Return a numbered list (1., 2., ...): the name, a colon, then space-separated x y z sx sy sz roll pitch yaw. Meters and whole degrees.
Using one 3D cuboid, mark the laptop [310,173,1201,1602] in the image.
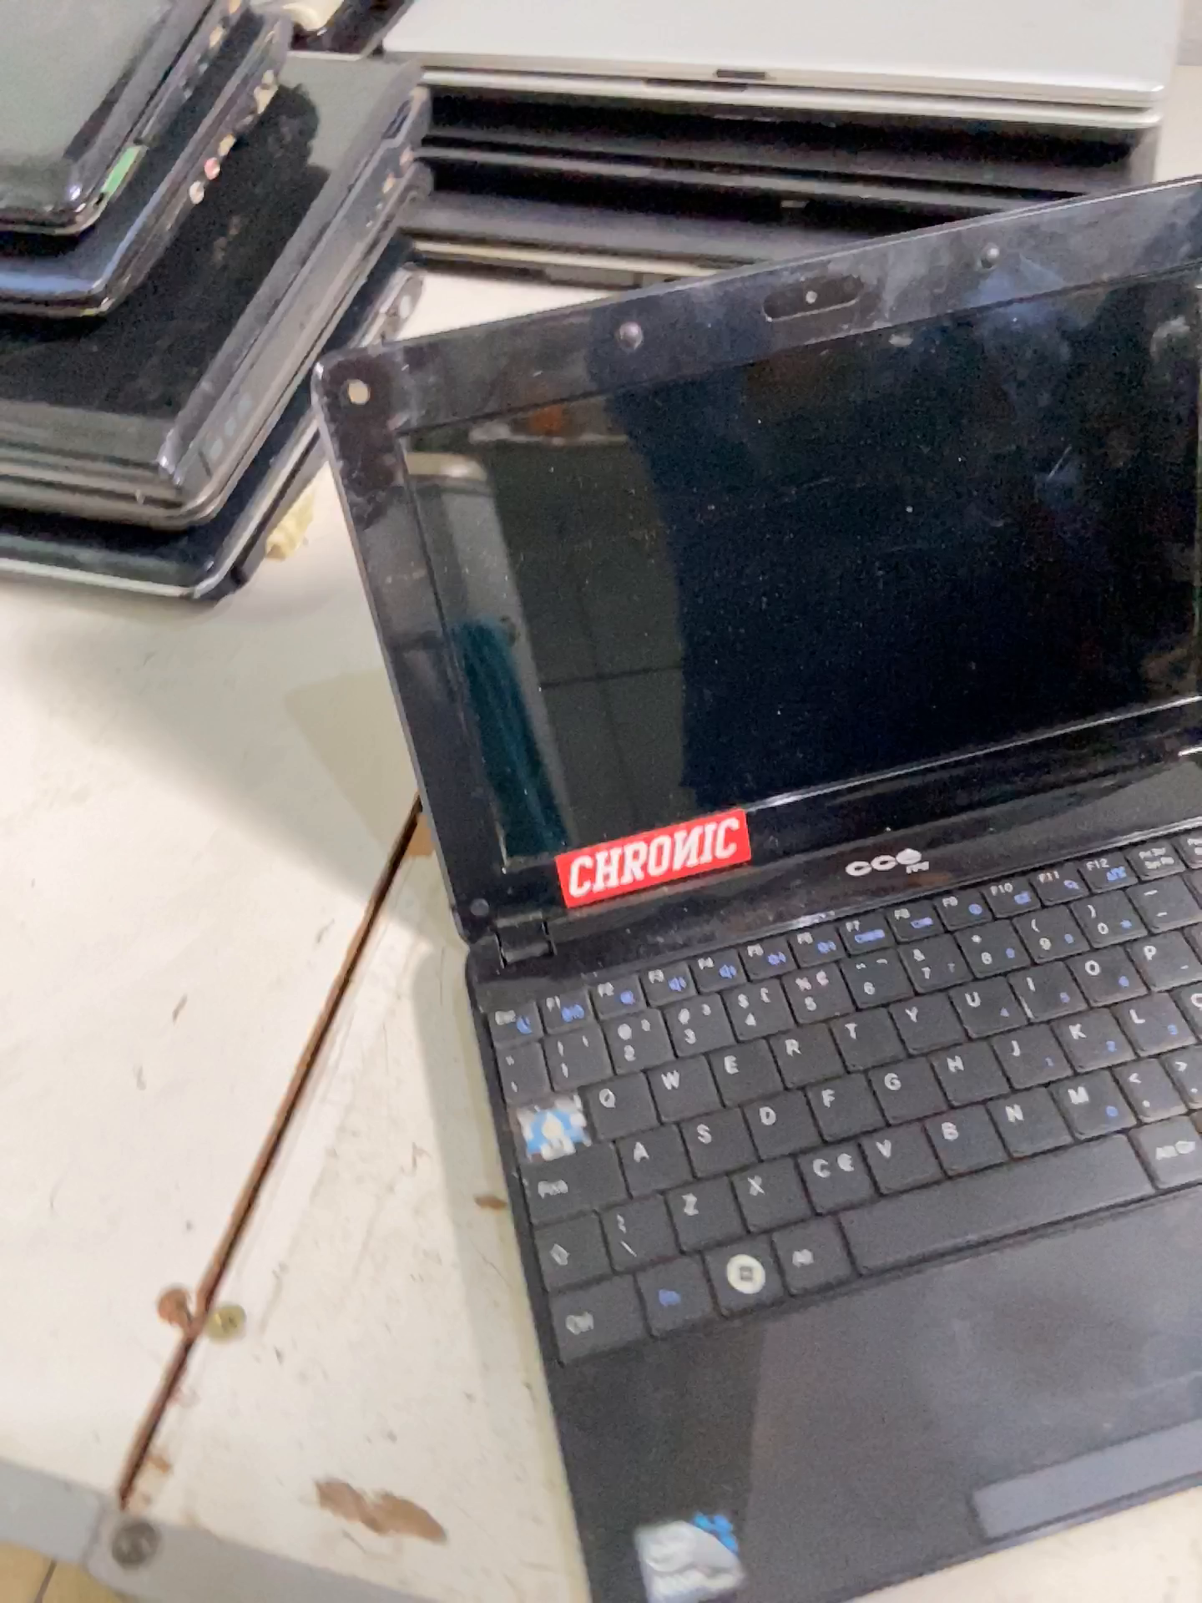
1. laptop: 0.087 0.005 0.292 0.253 0.137 0.258 -14 53 -5
